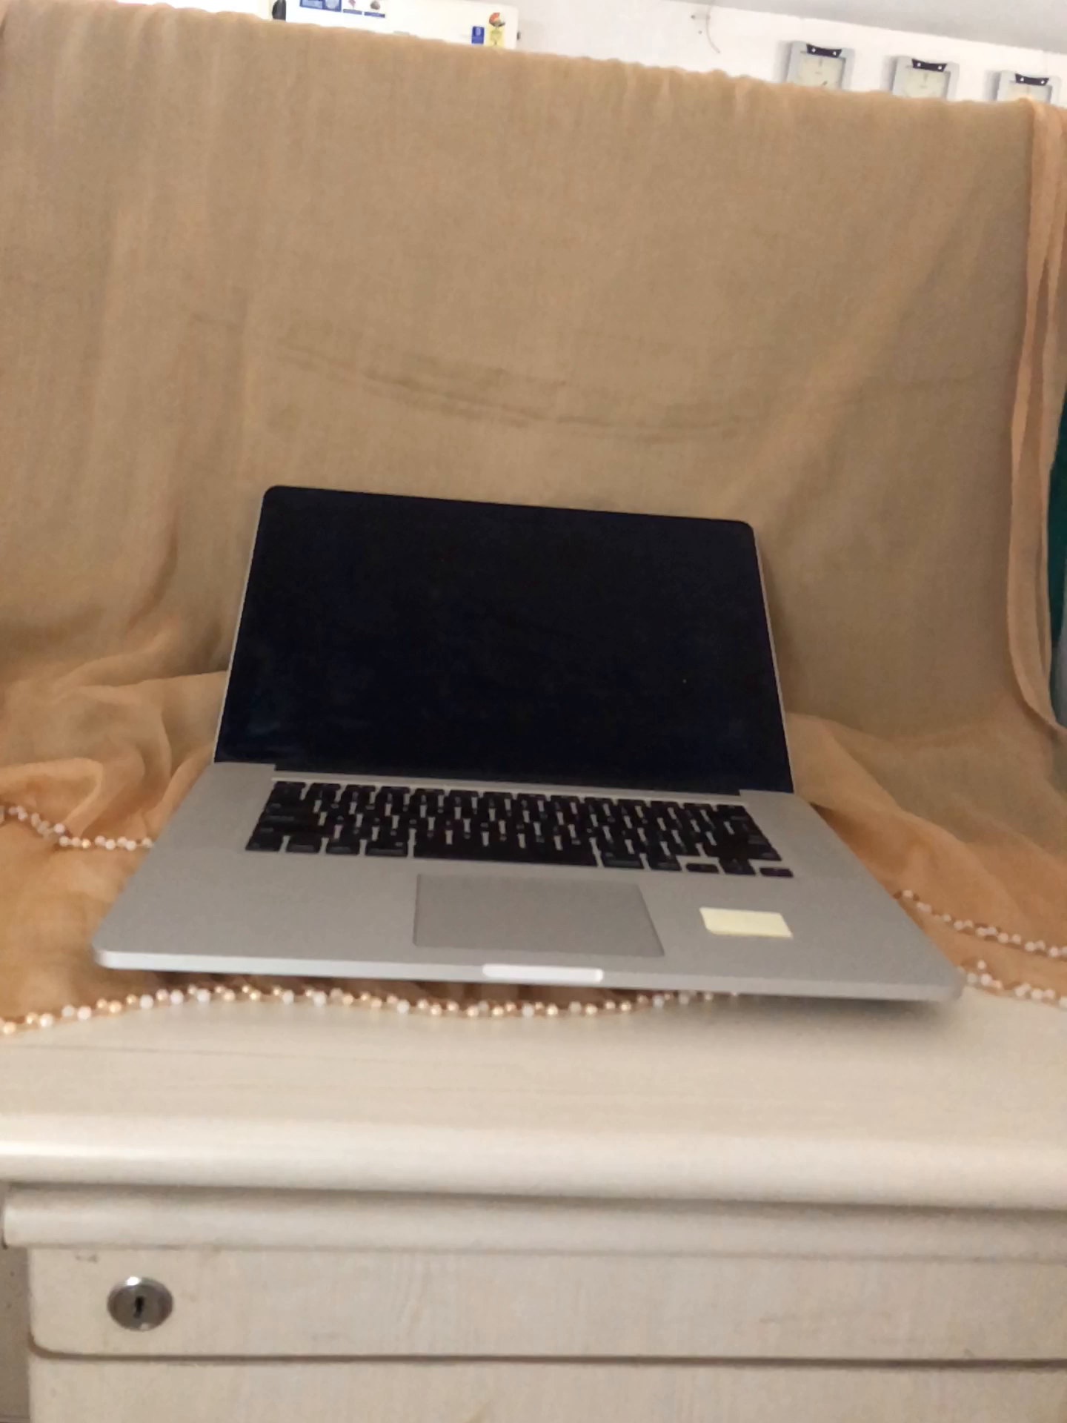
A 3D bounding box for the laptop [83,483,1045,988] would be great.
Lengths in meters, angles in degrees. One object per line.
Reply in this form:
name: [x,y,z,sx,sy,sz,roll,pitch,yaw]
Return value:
laptop: [-0.002,-0.022,0.616,0.336,0.135,0.407,4,15,-5]
